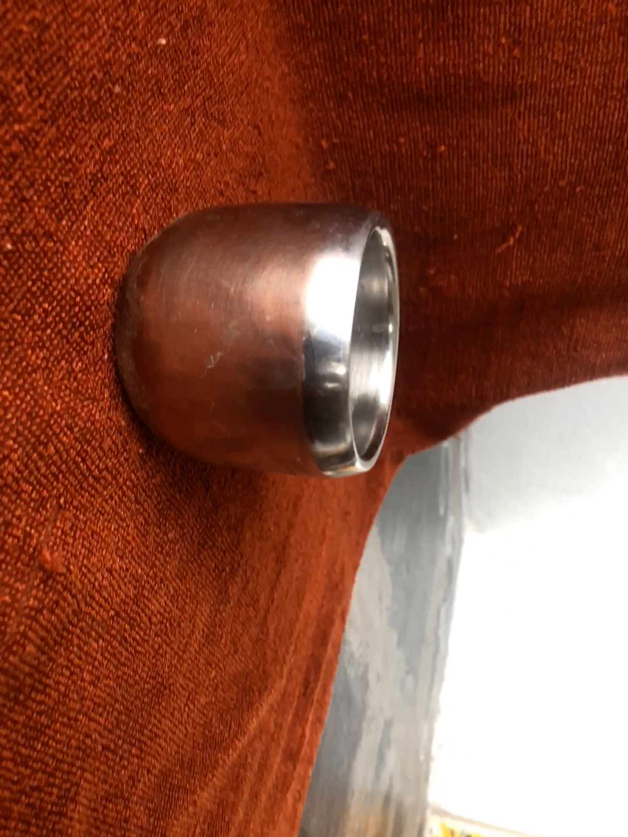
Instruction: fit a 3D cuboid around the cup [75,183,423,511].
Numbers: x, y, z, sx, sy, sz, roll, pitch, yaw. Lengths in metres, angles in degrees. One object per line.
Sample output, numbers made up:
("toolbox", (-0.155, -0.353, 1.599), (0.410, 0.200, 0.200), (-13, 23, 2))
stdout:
("cup", (-0.008, -0.013, 0.195), (0.090, 0.060, 0.060), (44, 53, -70))
